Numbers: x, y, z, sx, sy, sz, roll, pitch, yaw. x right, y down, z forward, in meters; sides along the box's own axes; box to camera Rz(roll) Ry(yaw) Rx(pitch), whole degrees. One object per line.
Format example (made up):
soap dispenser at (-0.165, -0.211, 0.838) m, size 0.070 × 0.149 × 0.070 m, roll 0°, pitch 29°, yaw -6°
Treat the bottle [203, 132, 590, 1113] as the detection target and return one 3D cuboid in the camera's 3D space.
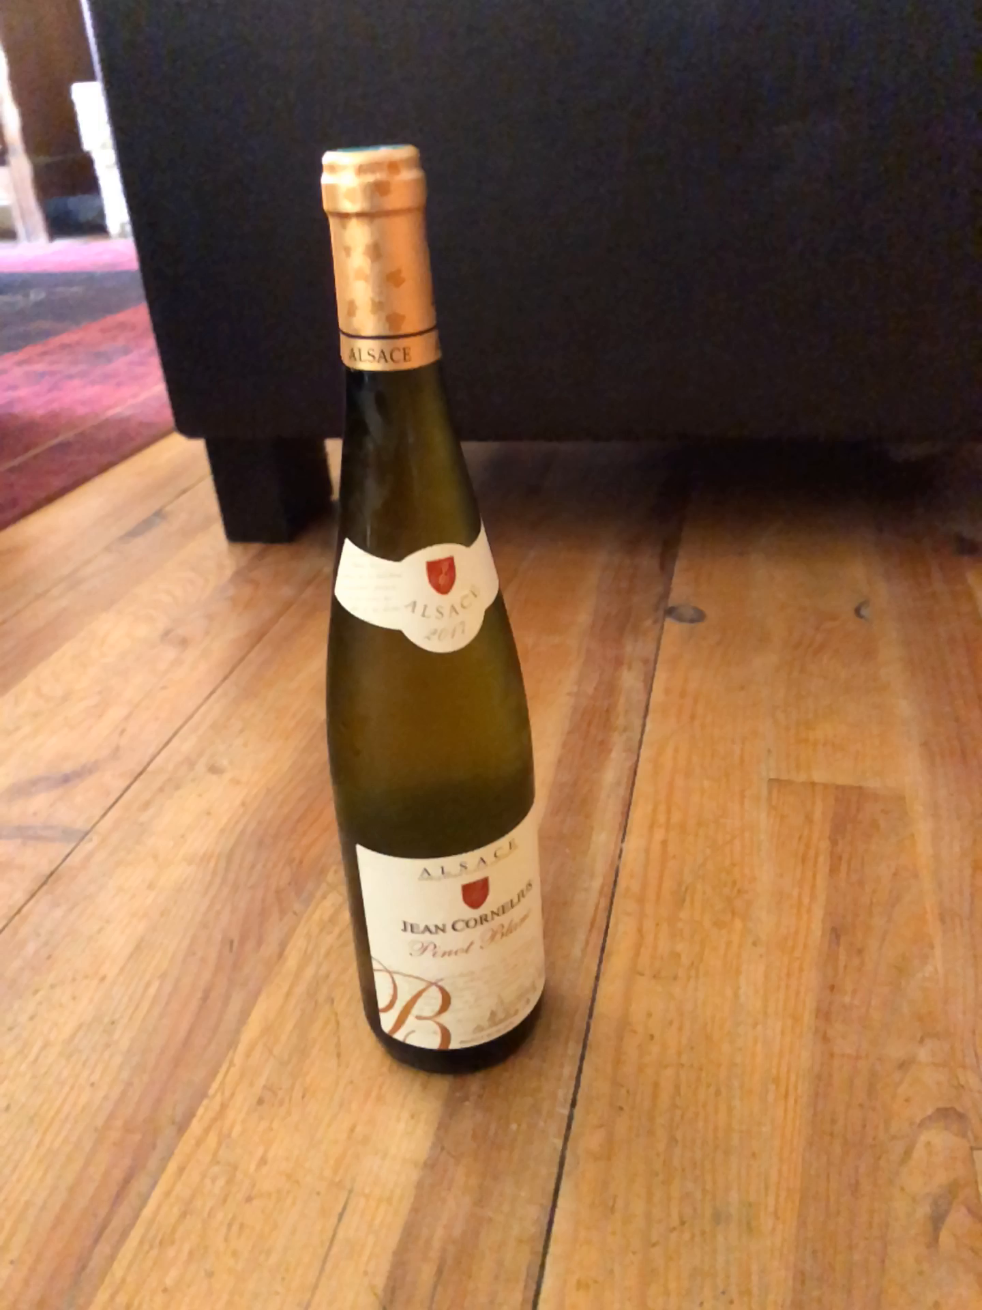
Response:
bottle at (-0.023, 0.001, 0.370) m, size 0.080 × 0.318 × 0.080 m, roll -3°, pitch 27°, yaw 2°
